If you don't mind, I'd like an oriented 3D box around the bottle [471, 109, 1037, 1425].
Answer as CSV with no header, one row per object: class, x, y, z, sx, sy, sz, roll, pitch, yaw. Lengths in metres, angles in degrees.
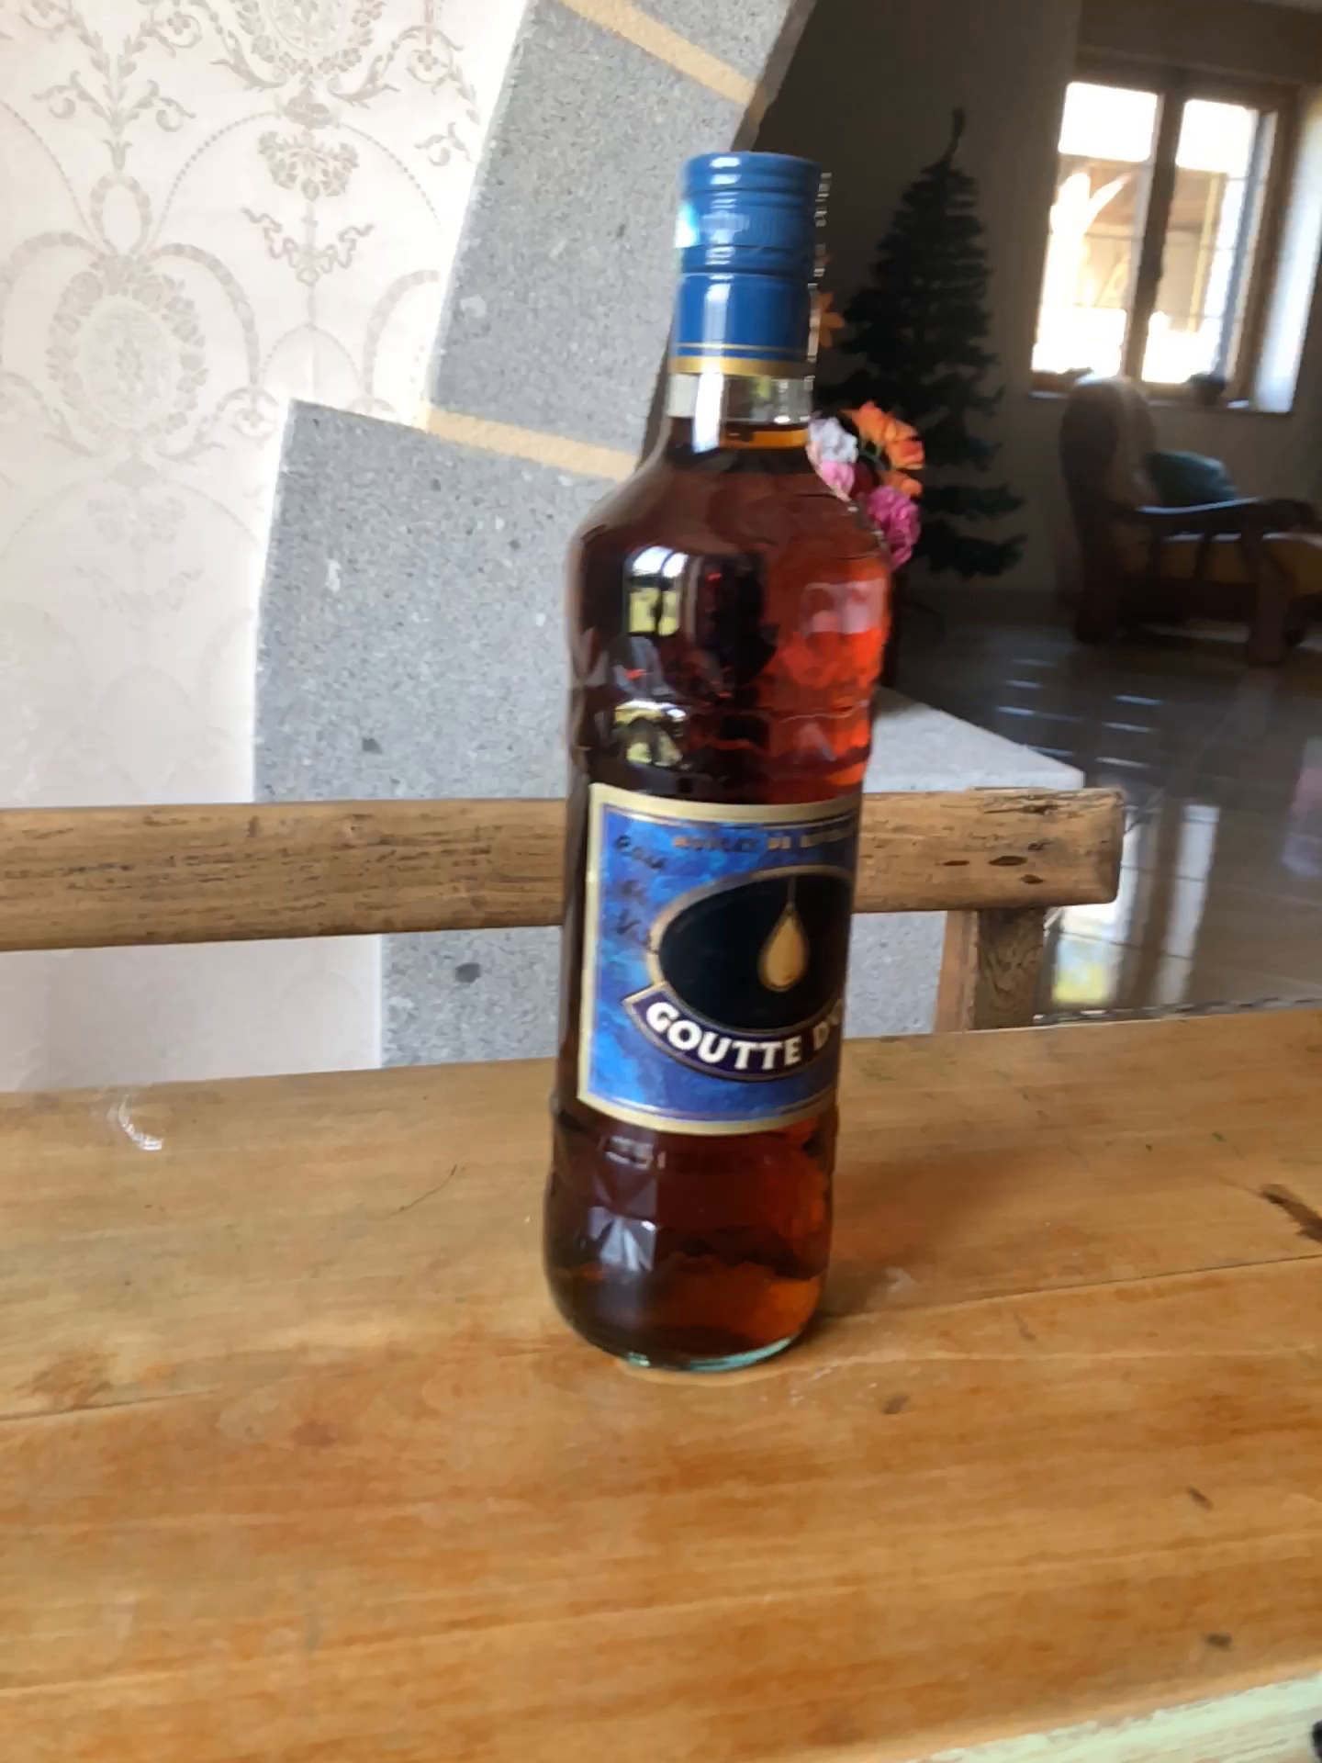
bottle,0.009,-0.022,0.360,0.090,0.279,0.100,-2,18,-17
